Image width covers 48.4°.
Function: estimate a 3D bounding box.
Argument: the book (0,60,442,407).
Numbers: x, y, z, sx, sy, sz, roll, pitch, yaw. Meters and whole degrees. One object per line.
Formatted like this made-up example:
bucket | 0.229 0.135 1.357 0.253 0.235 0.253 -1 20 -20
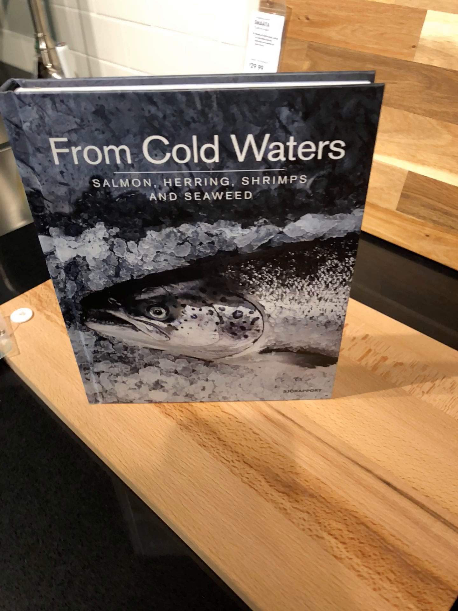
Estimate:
book | -0.010 -0.024 0.307 0.213 0.219 0.029 -1 39 0
